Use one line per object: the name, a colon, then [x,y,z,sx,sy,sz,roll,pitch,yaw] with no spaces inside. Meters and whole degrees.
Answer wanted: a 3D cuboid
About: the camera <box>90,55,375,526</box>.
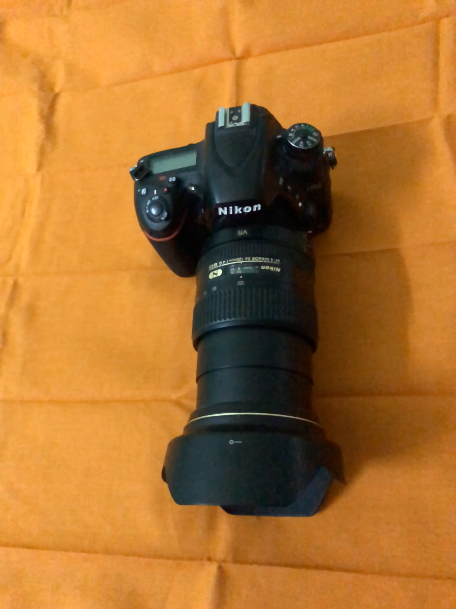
camera: [0.013,-0.002,0.329,0.131,0.120,0.264,-6,67,14]
